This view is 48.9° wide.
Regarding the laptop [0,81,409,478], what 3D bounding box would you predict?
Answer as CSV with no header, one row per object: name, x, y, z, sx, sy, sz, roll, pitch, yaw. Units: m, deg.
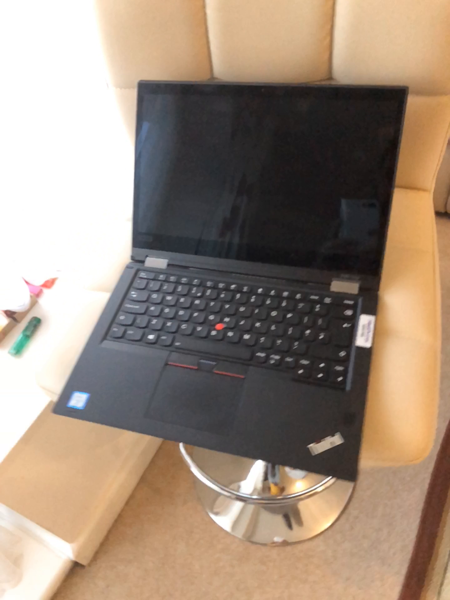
laptop,0.009,-0.054,0.525,0.308,0.165,0.368,8,54,15
